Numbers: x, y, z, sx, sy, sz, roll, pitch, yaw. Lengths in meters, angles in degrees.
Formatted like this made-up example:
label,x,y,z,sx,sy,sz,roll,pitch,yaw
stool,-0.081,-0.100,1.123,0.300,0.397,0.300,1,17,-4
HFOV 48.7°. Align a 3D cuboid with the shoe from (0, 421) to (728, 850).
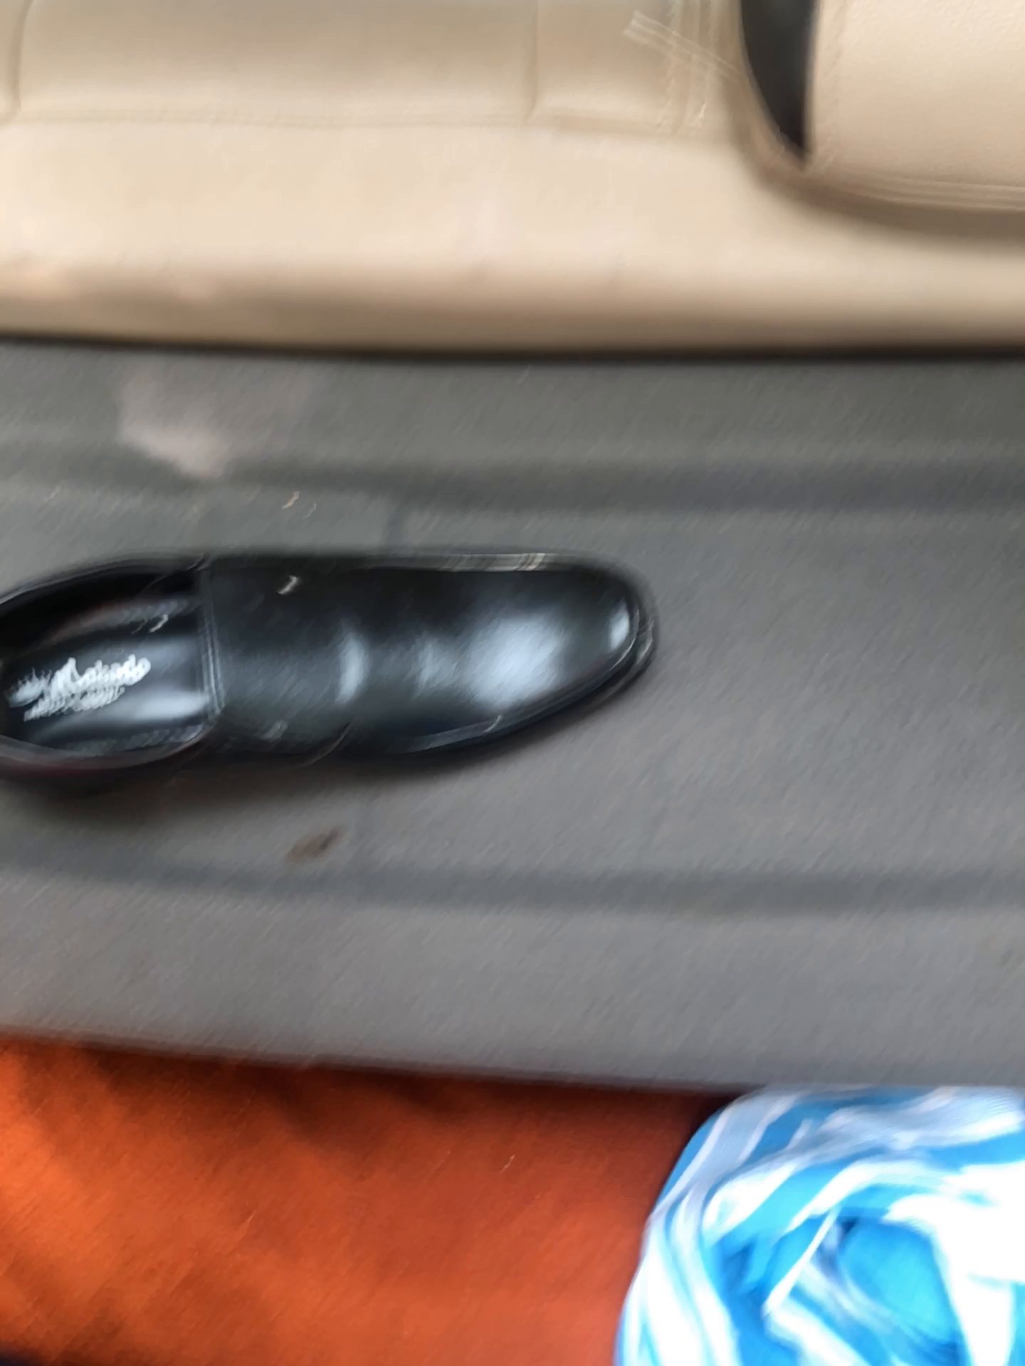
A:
label,x,y,z,sx,sy,sz,roll,pitch,yaw
shoe,-0.077,-0.014,0.450,0.300,0.080,0.100,-9,70,1
